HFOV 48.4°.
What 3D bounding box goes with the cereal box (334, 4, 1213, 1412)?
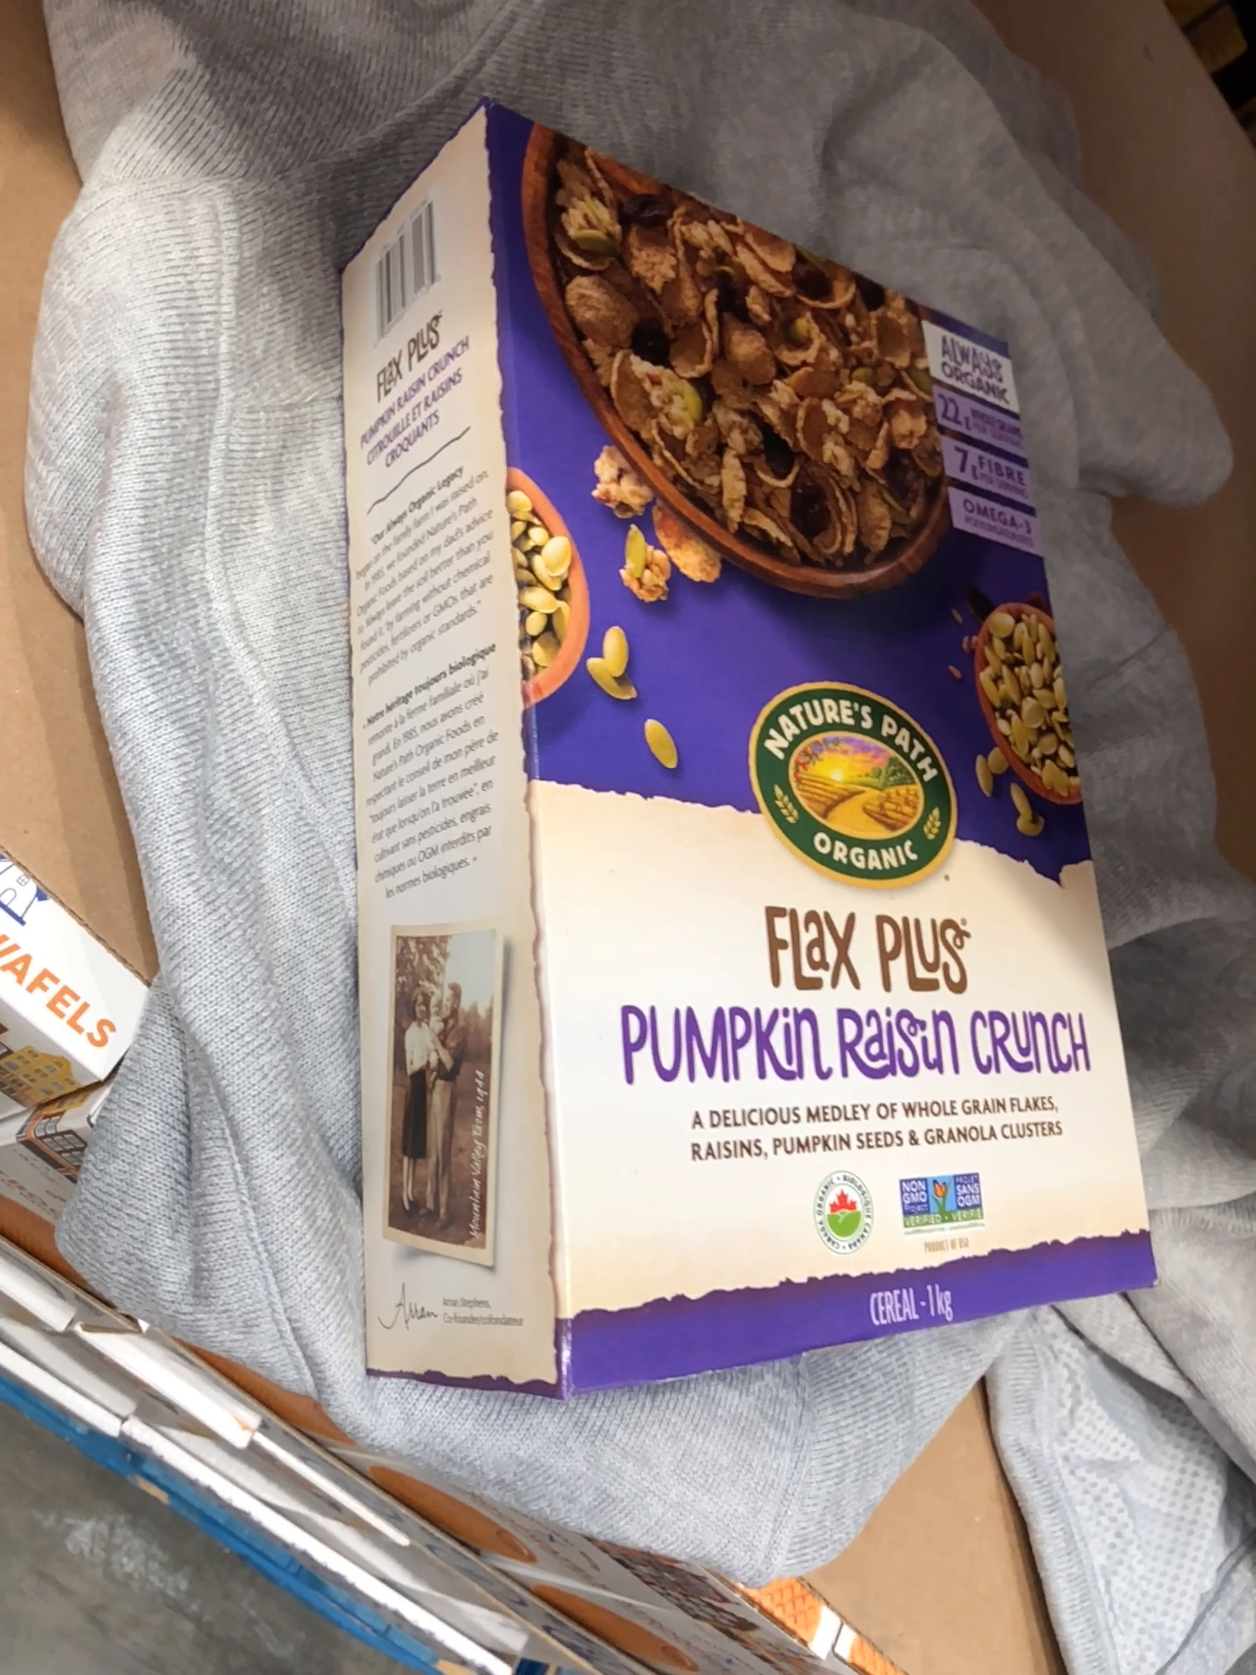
[{"bbox_3d":[0.039,-0.026,0.390,0.211,0.090,0.310,6,73,-38],"label":"cereal box"}]
